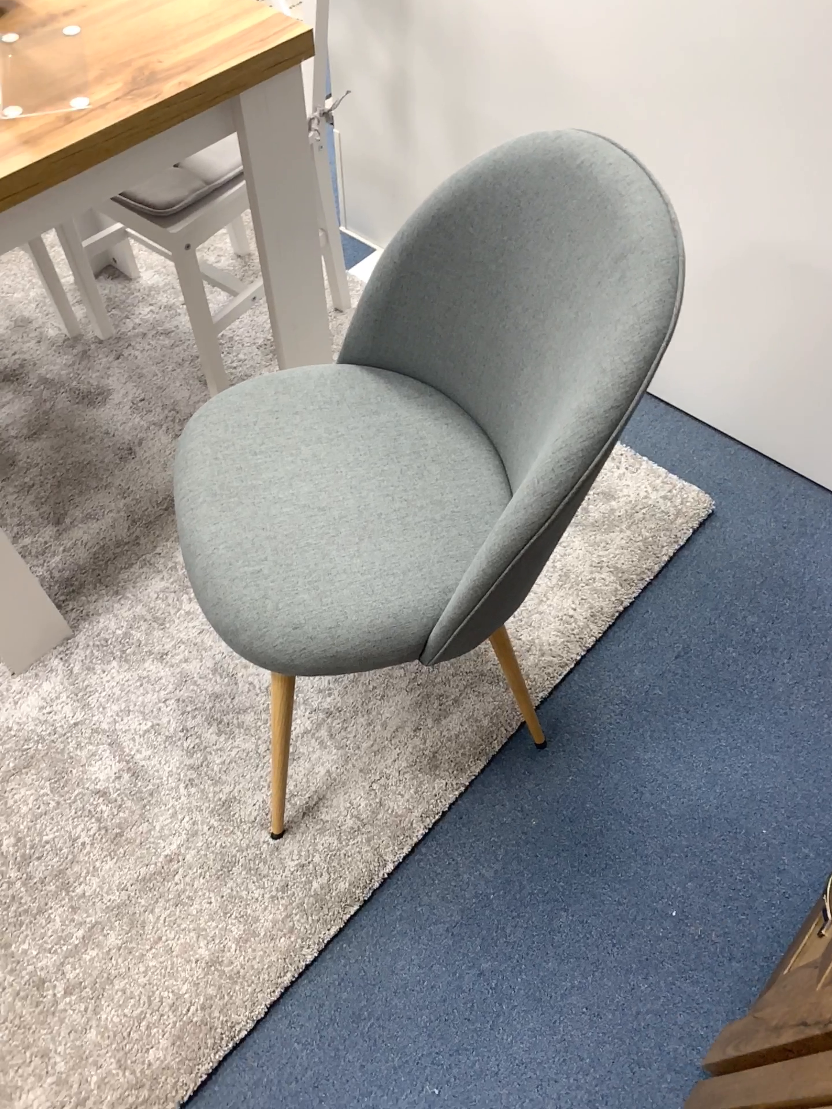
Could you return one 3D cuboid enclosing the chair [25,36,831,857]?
[{"bbox_3d":[-0.030,-0.082,1.043,0.570,0.738,0.532,-15,57,-11],"label":"chair"}]
